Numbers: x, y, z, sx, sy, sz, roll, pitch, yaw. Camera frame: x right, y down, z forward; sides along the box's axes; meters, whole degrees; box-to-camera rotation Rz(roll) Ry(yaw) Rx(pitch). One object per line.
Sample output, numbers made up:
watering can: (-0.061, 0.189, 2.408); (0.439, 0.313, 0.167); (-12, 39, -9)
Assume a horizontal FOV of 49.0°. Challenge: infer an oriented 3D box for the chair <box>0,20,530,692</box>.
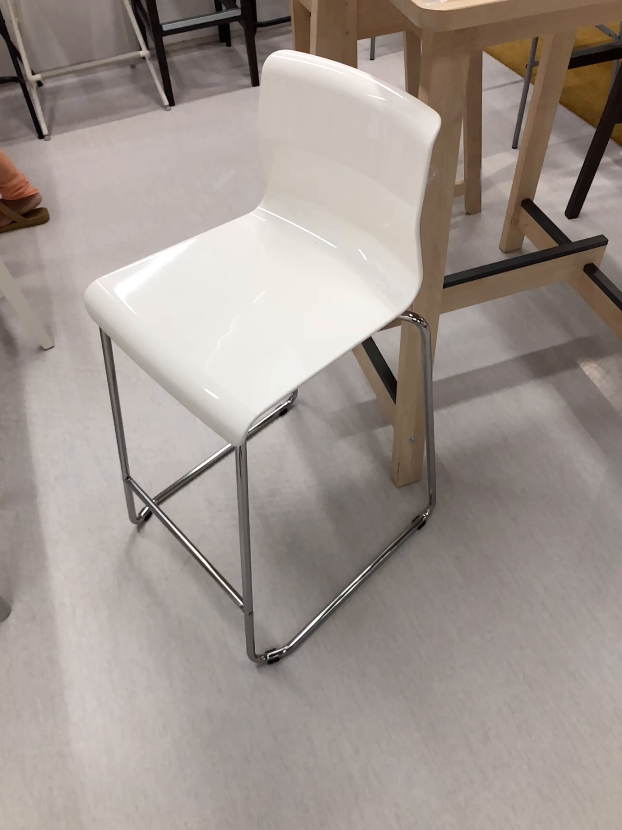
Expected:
chair: (-0.090, -0.060, 1.134); (0.551, 0.825, 0.502); (-38, 58, -25)
